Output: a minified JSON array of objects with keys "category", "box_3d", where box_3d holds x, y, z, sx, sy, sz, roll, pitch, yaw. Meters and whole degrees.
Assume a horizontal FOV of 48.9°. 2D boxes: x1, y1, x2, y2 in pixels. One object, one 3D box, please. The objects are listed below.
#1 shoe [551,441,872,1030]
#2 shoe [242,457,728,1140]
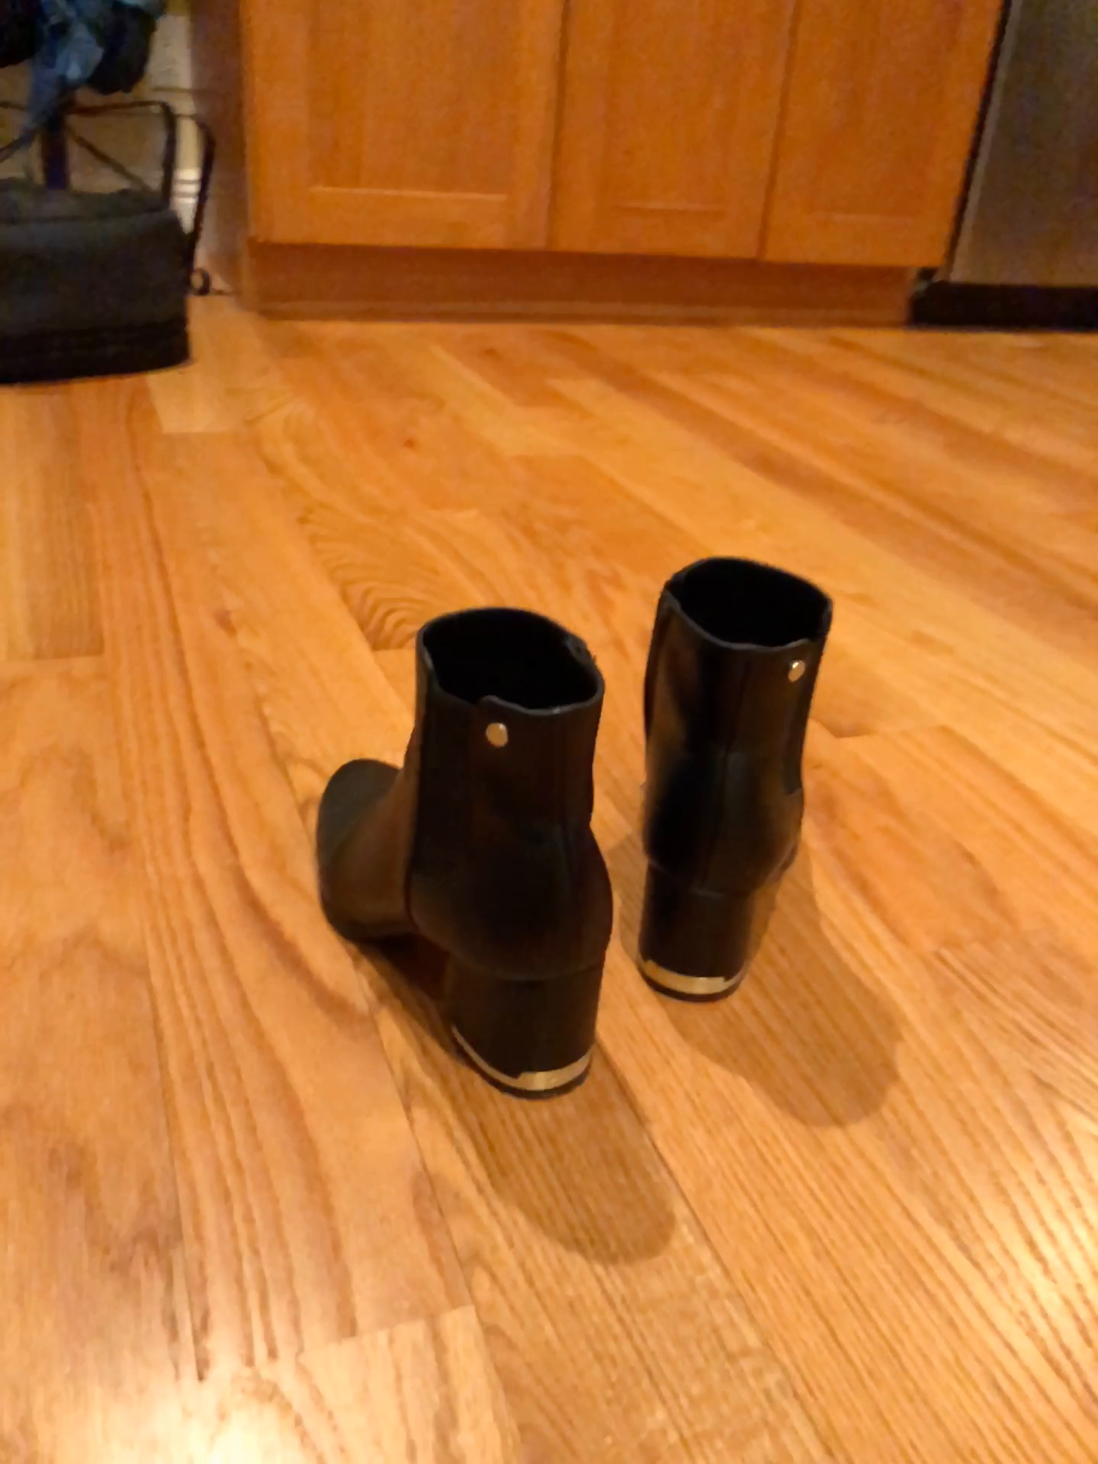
[{"category":"shoe","box_3d":[0.083,-0.016,0.565,0.095,0.175,0.237,11,28,11]},{"category":"shoe","box_3d":[-0.045,0.007,0.501,0.095,0.175,0.237,-10,31,-26]}]
